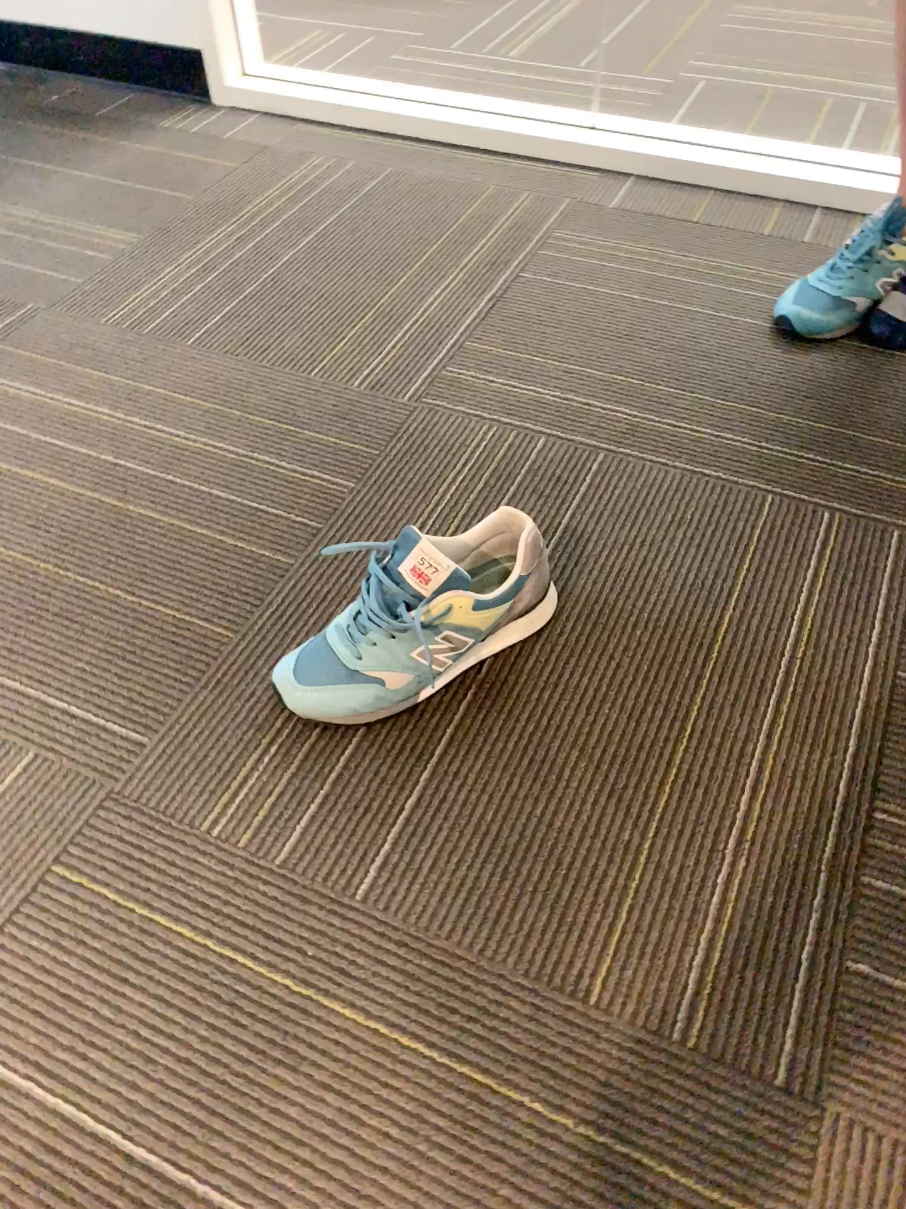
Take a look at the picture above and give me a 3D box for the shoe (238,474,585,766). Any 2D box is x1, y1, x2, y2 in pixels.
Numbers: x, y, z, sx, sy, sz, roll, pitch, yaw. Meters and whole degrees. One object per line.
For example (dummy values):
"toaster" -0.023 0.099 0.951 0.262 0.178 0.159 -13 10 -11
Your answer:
"shoe" -0.033 0.006 0.871 0.290 0.099 0.131 -29 53 -22

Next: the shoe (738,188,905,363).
"shoe" 0.542 -0.445 1.237 0.290 0.099 0.131 -29 53 -22
